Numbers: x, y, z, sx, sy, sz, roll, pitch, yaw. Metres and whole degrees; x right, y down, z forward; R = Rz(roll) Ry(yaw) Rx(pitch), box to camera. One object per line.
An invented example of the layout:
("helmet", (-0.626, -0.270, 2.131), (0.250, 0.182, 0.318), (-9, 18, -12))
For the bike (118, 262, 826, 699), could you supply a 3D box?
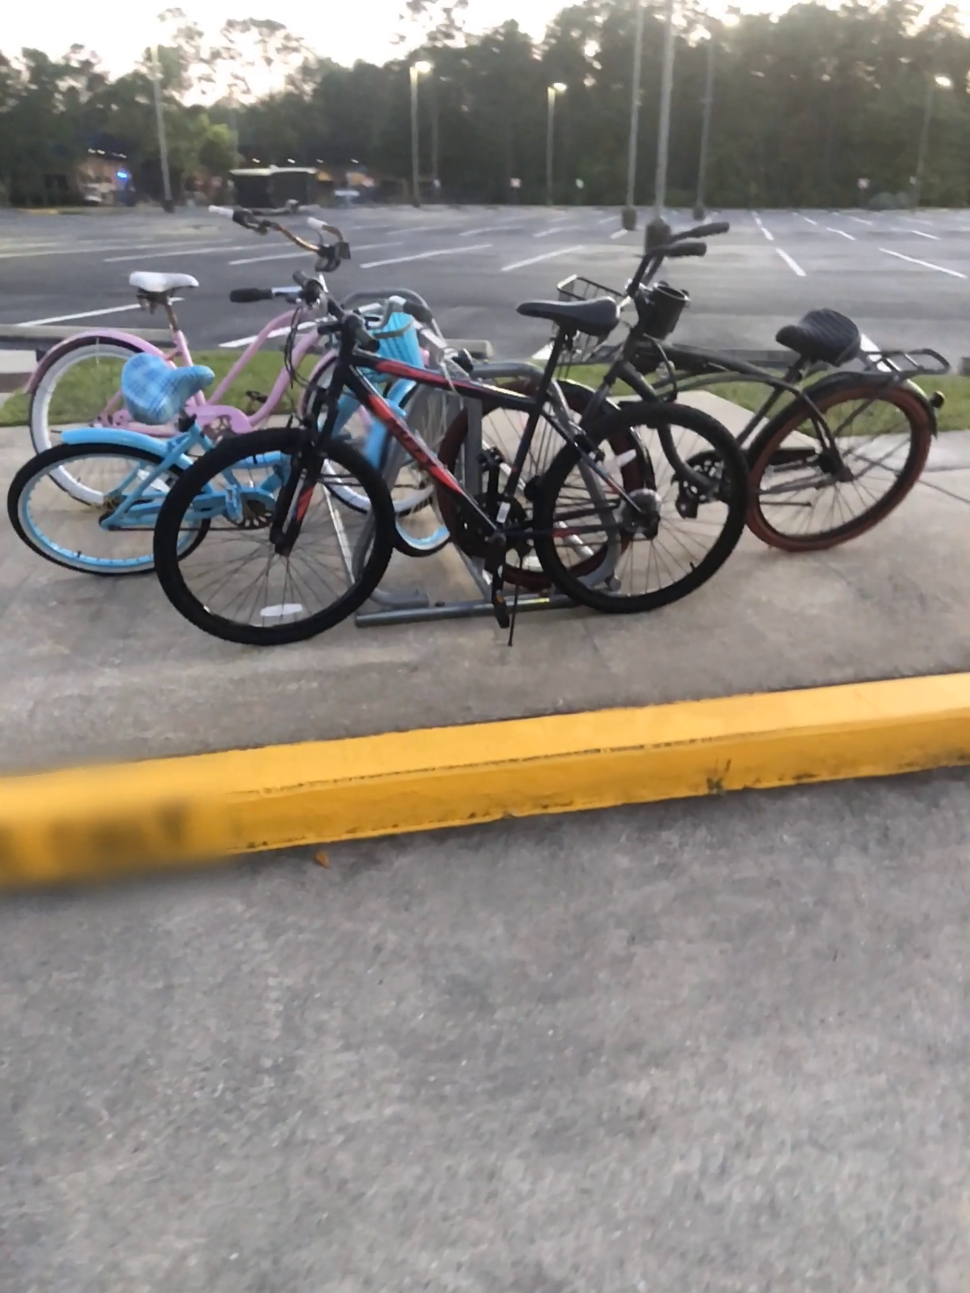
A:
("bike", (-0.032, -0.499, 2.810), (1.629, 0.932, 0.627), (-6, 23, -15))
